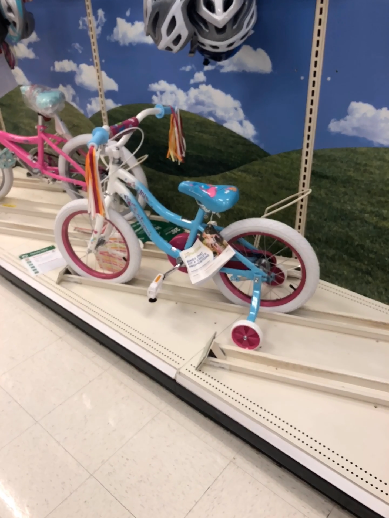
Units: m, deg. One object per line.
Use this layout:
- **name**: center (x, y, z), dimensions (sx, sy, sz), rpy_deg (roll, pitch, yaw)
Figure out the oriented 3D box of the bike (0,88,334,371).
- **bike**: center (-0.085, -0.177, 1.616), dimensions (1.090, 0.723, 0.535), rpy_deg (10, 33, 17)
